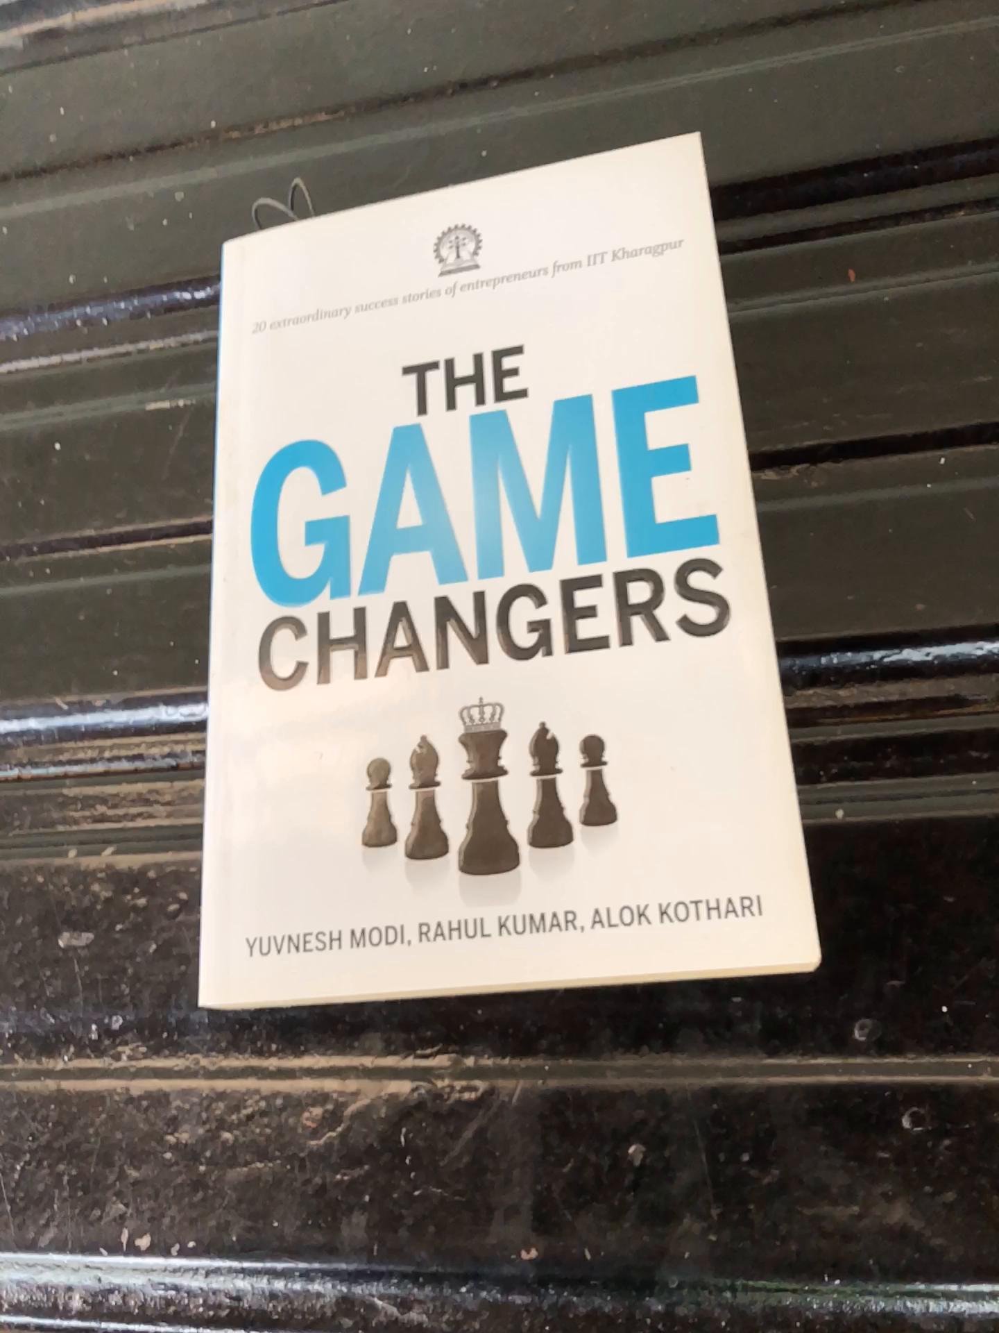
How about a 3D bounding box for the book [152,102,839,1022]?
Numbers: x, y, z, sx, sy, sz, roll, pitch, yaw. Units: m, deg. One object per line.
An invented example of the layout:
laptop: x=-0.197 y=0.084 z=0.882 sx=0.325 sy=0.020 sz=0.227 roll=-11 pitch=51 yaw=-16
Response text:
book: x=-0.006 y=-0.024 z=0.249 sx=0.130 sy=0.030 sz=0.190 roll=-7 pitch=72 yaw=11
